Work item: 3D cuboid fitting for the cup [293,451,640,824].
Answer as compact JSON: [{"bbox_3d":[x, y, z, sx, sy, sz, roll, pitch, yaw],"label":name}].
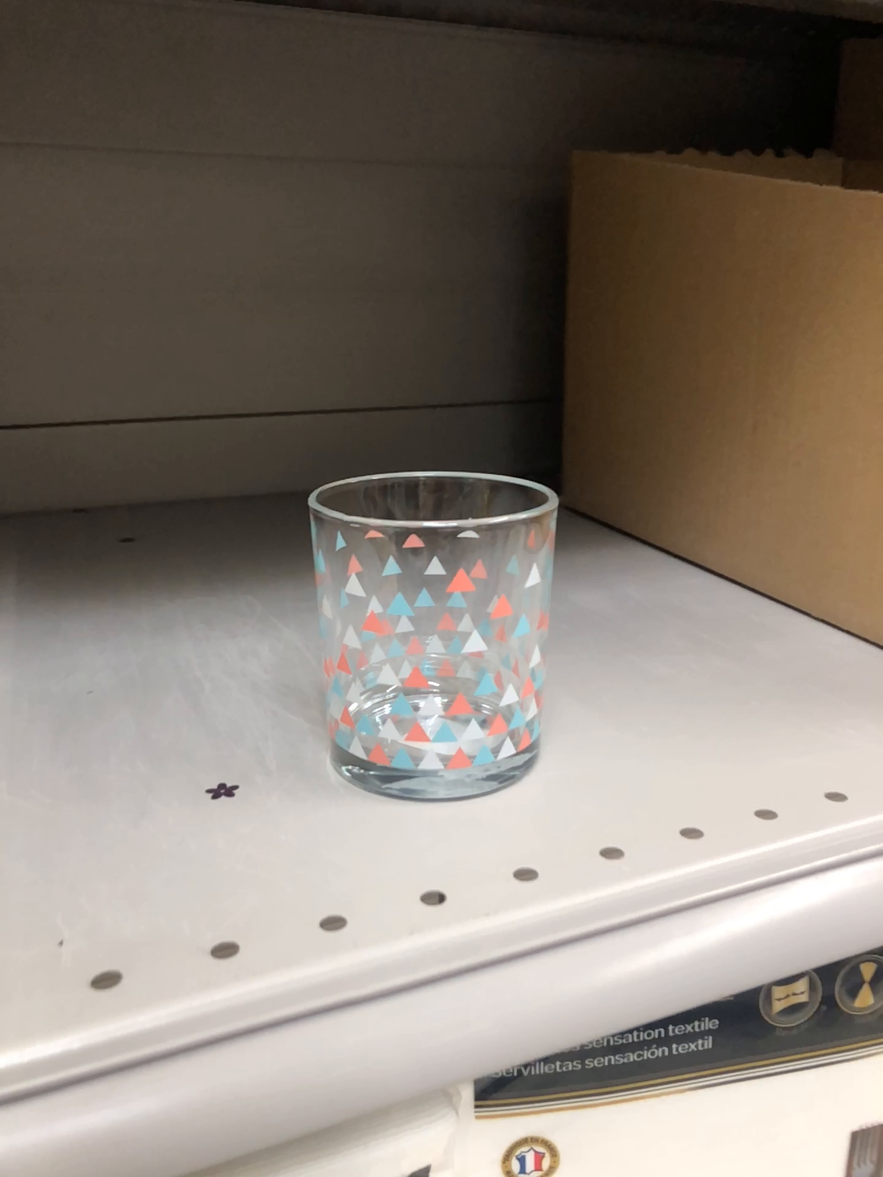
[{"bbox_3d":[0.003,0.008,0.290,0.076,0.081,0.076,0,17,0],"label":"cup"}]
